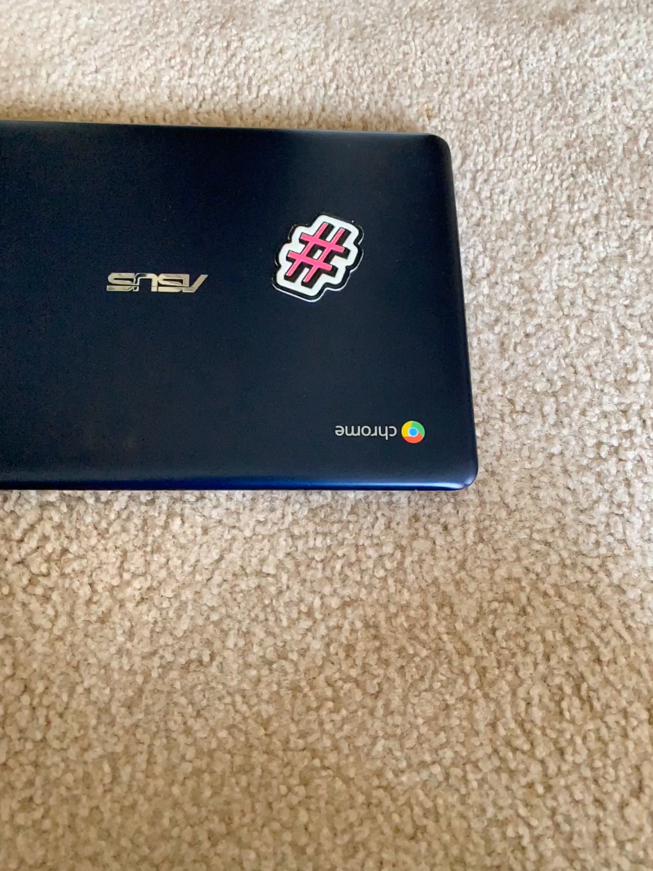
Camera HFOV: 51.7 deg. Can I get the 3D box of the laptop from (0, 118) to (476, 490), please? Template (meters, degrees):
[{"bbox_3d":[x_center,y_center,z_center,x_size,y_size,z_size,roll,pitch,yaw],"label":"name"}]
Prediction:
[{"bbox_3d":[-0.074,-0.065,0.309,0.271,0.006,0.181,0,71,-4],"label":"laptop"}]
